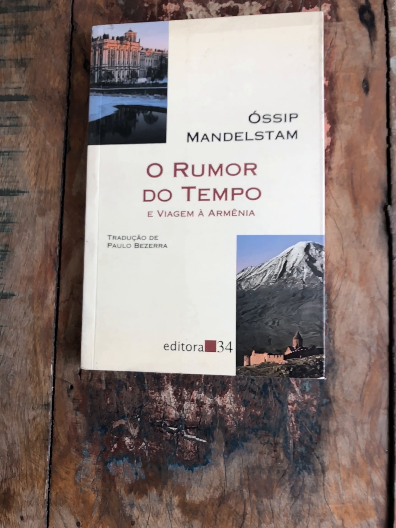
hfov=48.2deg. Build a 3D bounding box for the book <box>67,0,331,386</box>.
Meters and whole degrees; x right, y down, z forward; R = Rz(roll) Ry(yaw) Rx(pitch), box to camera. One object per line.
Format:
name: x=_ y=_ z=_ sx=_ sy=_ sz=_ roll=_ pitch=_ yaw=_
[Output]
book: x=0.001 y=-0.042 z=0.254 sx=0.140 sy=0.022 sz=0.207 roll=1 pitch=87 yaw=8
